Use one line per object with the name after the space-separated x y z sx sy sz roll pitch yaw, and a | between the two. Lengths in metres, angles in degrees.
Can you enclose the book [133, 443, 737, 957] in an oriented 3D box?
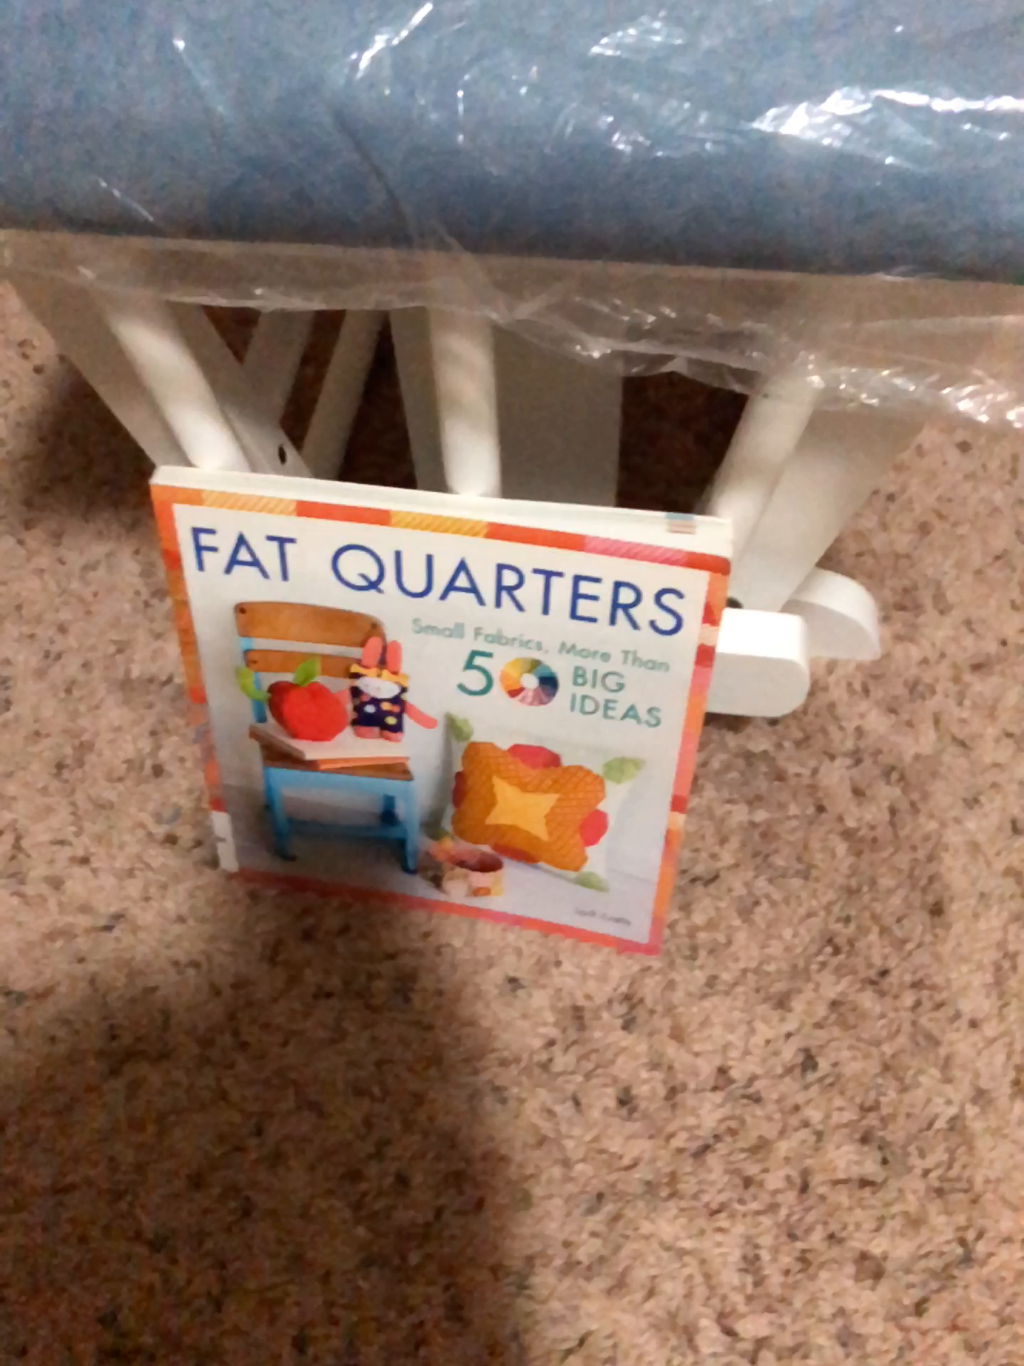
-0.031 0.013 0.449 0.207 0.193 0.030 9 37 9 | book
